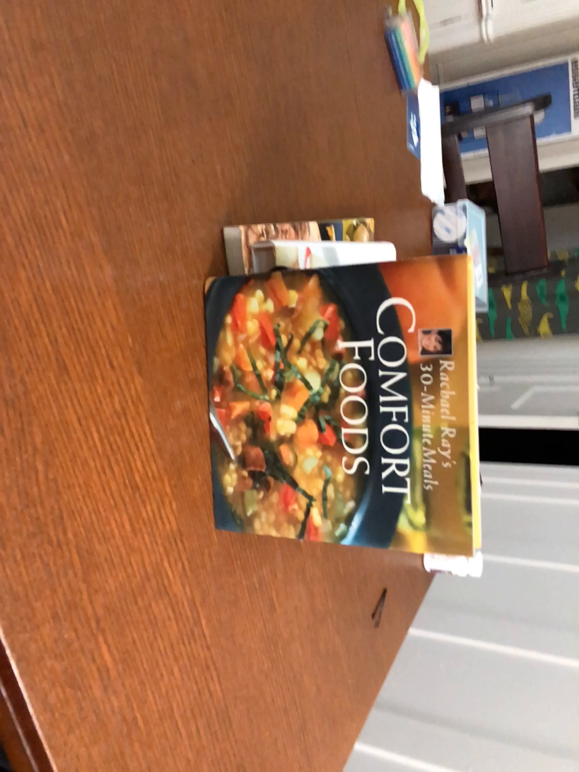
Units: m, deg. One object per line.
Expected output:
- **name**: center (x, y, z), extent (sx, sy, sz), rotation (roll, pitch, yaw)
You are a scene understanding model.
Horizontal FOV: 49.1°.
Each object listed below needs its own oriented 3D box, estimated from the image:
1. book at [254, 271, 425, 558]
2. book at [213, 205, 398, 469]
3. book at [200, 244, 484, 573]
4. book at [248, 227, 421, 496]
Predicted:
- **book**: center (0.065, 0.011, 0.610), extent (0.282, 0.030, 0.220), rotation (-10, 98, -58)
- **book**: center (0.035, -0.067, 0.646), extent (0.282, 0.030, 0.220), rotation (-24, 110, -56)
- **book**: center (0.032, 0.014, 0.465), extent (0.030, 0.209, 0.210), rotation (-6, 96, -62)
- **book**: center (0.062, -0.042, 0.638), extent (0.282, 0.030, 0.220), rotation (-20, 106, -57)
